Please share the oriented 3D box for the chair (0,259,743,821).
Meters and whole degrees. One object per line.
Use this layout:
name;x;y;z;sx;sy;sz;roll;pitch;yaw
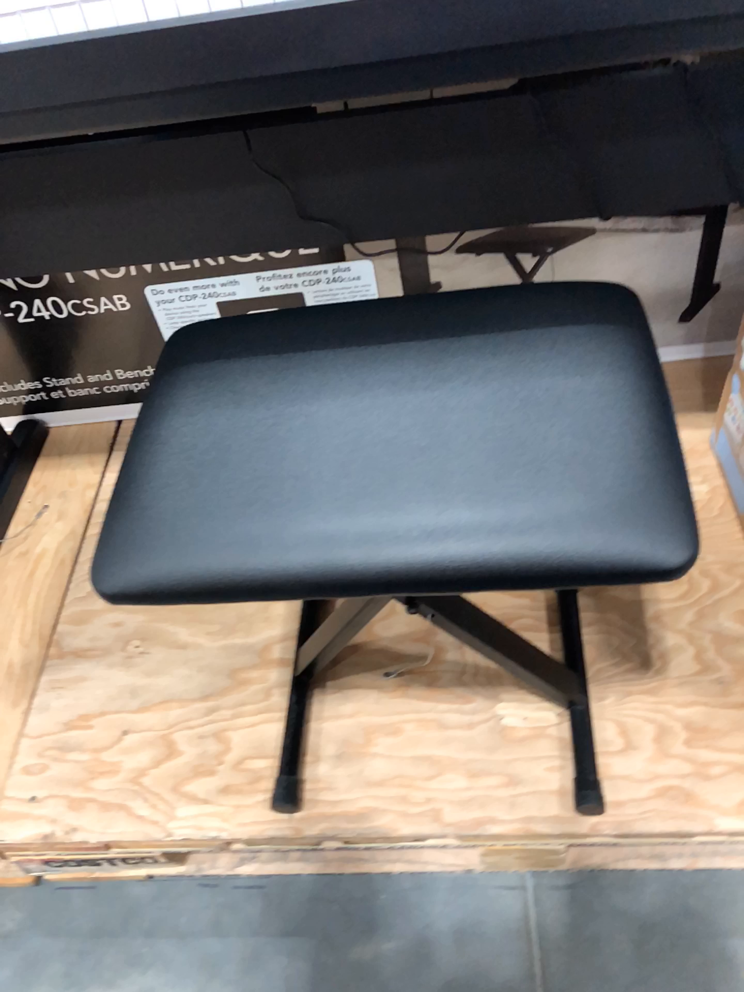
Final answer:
chair;0.011;0.045;0.713;0.510;0.279;0.371;-3;49;8
